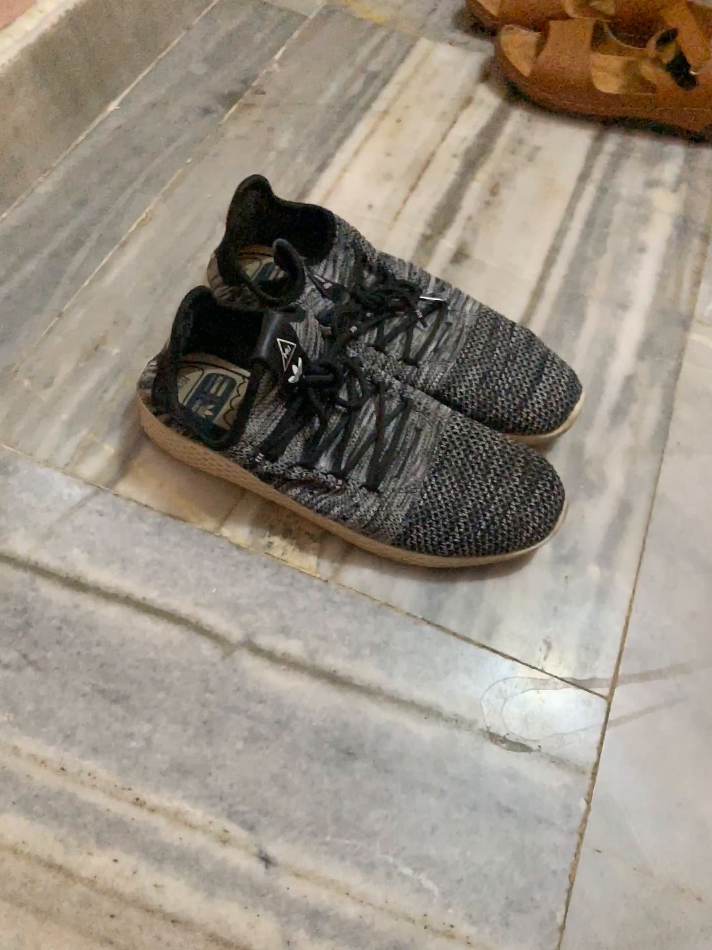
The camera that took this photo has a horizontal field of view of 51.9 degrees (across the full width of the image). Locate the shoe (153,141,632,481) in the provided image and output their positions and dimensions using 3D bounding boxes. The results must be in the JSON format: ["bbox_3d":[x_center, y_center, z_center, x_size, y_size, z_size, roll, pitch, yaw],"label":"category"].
[{"bbox_3d":[0.023,-0.122,0.524,0.300,0.080,0.120,24,60,9],"label":"shoe"}]

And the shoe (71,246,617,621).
[{"bbox_3d":[-0.006,-0.031,0.467,0.300,0.080,0.120,21,60,8],"label":"shoe"}]
